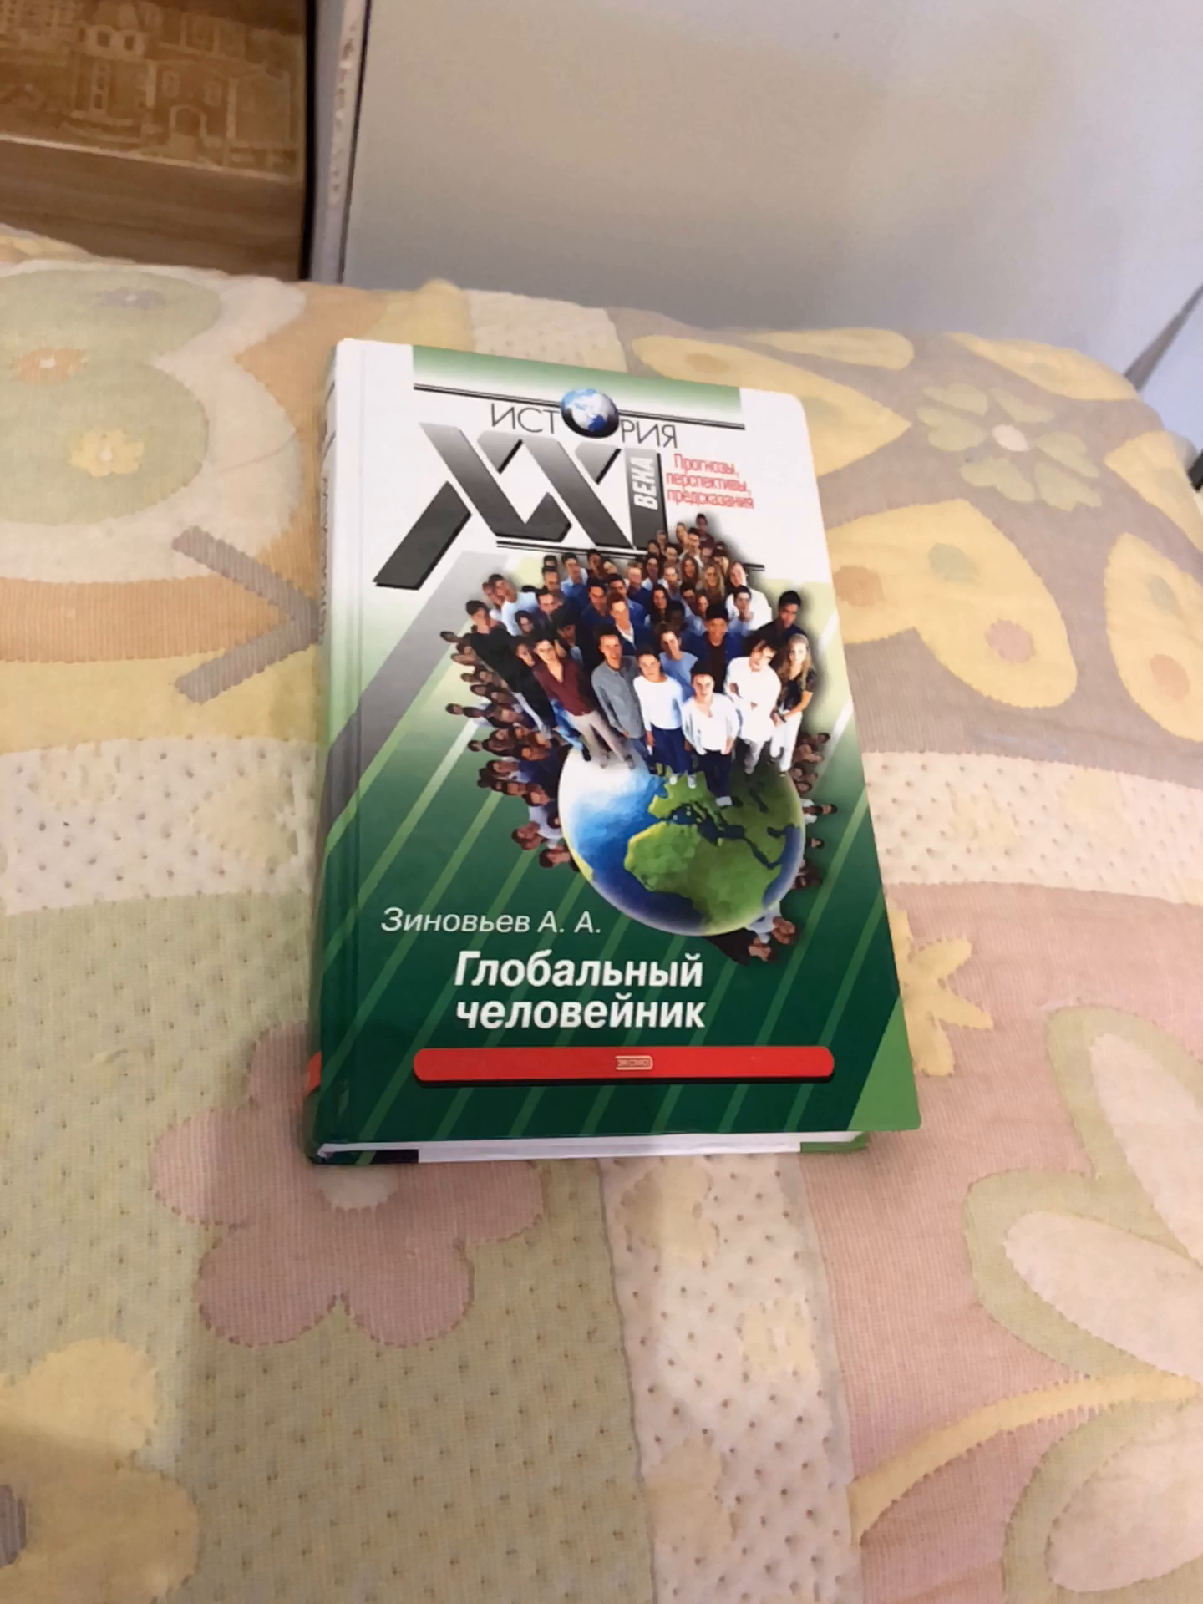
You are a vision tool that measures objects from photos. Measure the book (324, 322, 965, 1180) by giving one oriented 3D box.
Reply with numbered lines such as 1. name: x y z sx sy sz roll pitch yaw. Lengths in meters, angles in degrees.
1. book: 0.003 -0.018 0.329 0.133 0.036 0.207 3 65 -15
